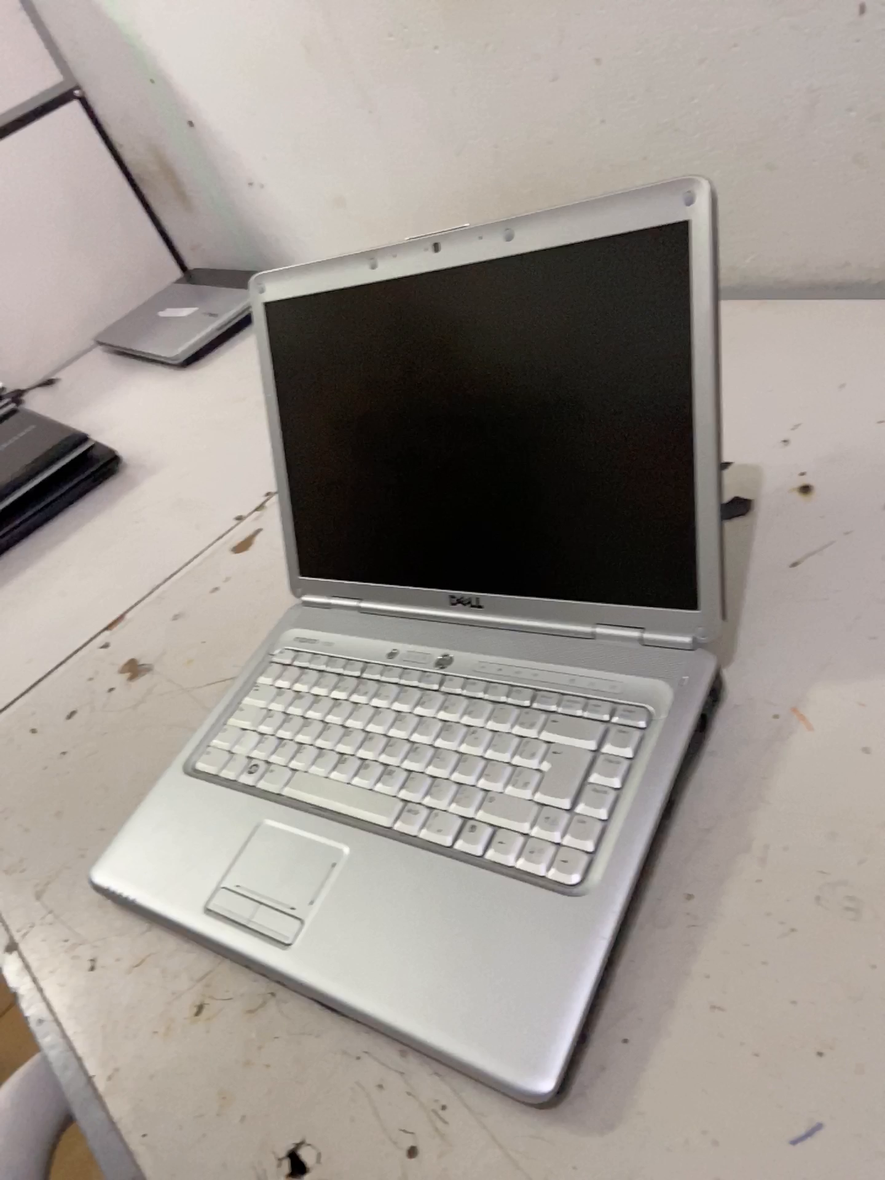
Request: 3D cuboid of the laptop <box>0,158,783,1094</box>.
[{"bbox_3d":[-0.047,-0.014,0.522,0.349,0.208,0.378,5,49,37],"label":"laptop"}]
